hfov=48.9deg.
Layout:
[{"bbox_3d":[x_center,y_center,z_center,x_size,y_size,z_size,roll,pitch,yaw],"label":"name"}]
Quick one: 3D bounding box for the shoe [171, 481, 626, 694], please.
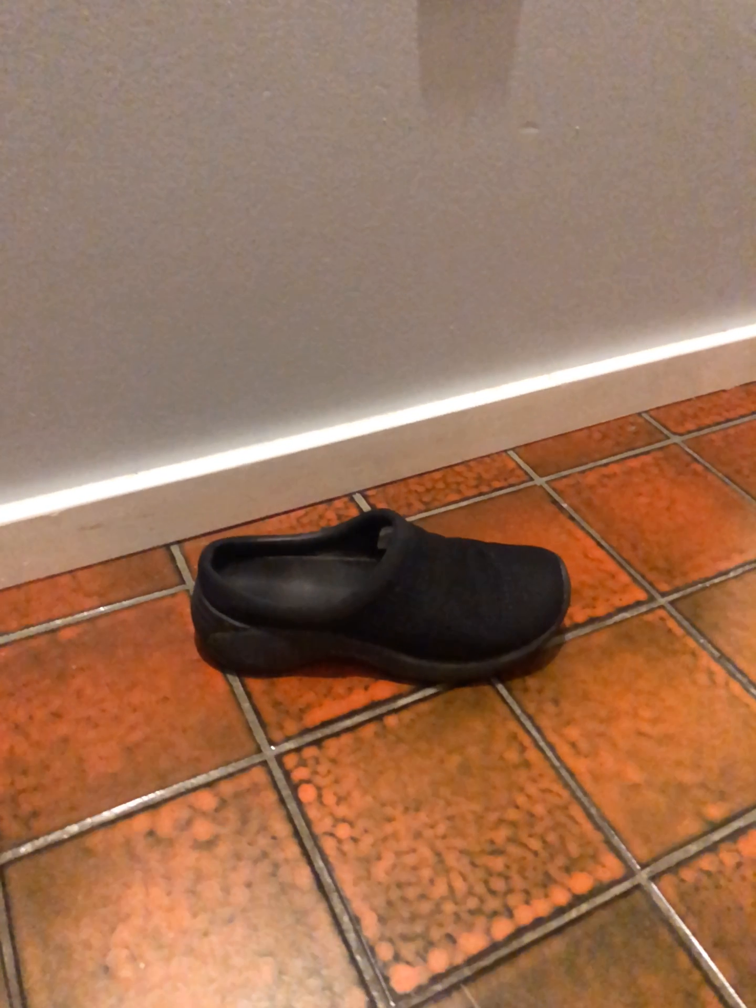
[{"bbox_3d":[0.009,0.052,0.518,0.250,0.080,0.100,1,40,-4],"label":"shoe"}]
